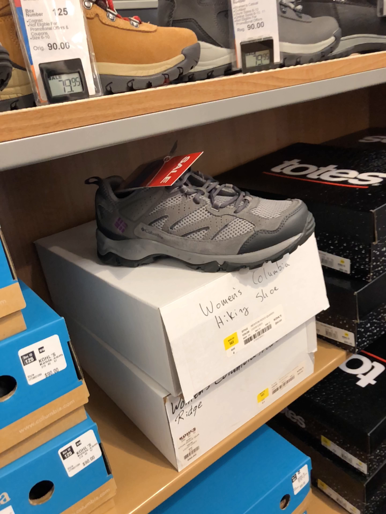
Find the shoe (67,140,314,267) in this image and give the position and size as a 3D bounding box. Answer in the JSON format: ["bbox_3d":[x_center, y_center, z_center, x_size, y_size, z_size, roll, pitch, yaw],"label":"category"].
[{"bbox_3d":[0.004,-0.062,0.519,0.267,0.114,0.104,-1,24,19],"label":"shoe"}]
